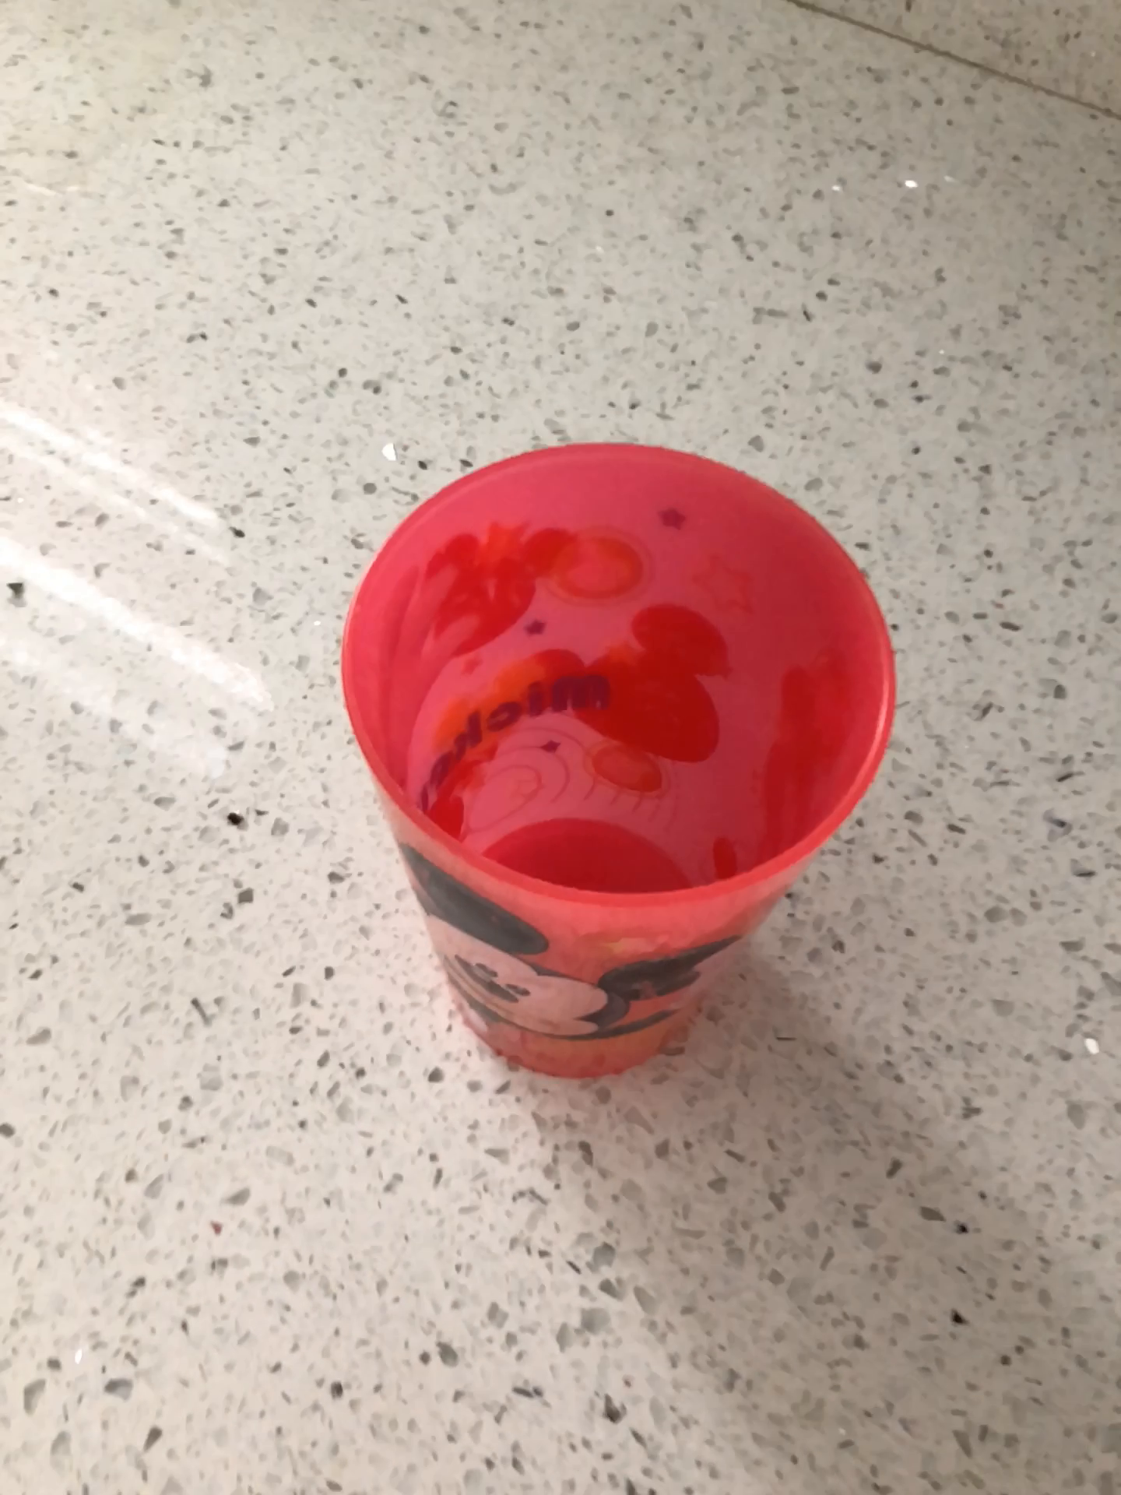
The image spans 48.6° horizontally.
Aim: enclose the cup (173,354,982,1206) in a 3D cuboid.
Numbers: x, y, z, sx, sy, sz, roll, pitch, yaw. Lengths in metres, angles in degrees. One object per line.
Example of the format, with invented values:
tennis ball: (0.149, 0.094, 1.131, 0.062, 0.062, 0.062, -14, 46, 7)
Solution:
cup: (0.003, 0.011, 0.195, 0.073, 0.097, 0.071, 1, 60, -2)
